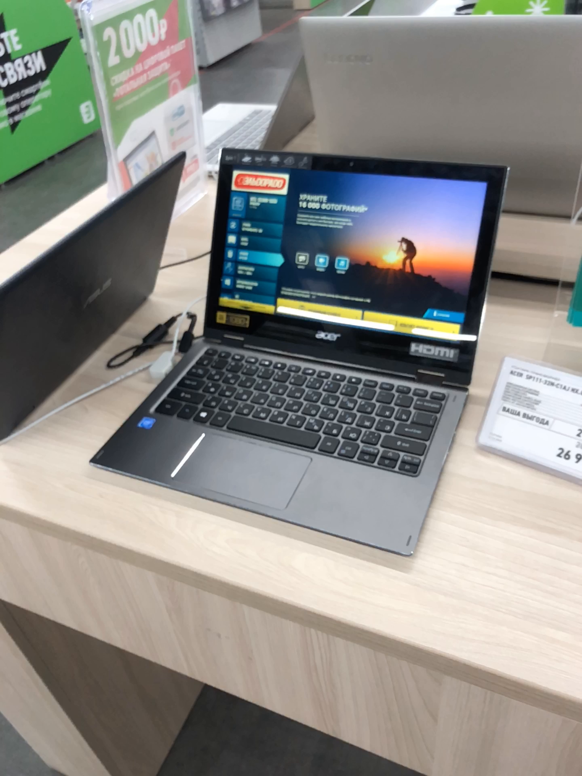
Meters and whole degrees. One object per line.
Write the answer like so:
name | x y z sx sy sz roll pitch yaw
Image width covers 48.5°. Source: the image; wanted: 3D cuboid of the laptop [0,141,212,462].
laptop | -0.287 -0.113 0.666 0.287 0.174 0.276 11 42 21

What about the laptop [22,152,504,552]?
laptop | 0.006 -0.064 0.571 0.287 0.168 0.304 11 42 21
